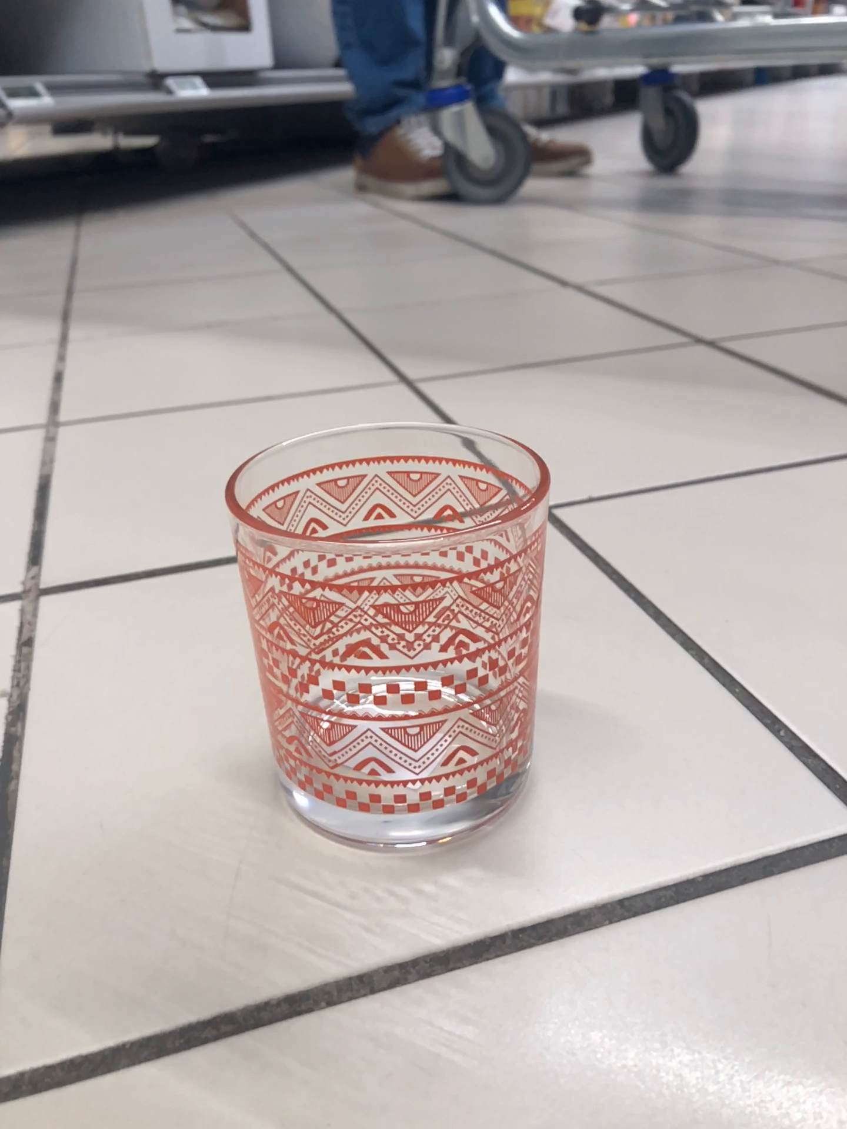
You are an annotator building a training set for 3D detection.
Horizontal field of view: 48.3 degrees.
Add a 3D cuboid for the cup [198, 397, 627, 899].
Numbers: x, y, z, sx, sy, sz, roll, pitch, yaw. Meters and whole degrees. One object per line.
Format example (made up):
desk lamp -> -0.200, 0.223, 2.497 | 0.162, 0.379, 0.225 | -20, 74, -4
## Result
cup -> -0.007, 0.013, 0.230 | 0.078, 0.078, 0.084 | -2, 27, 1
